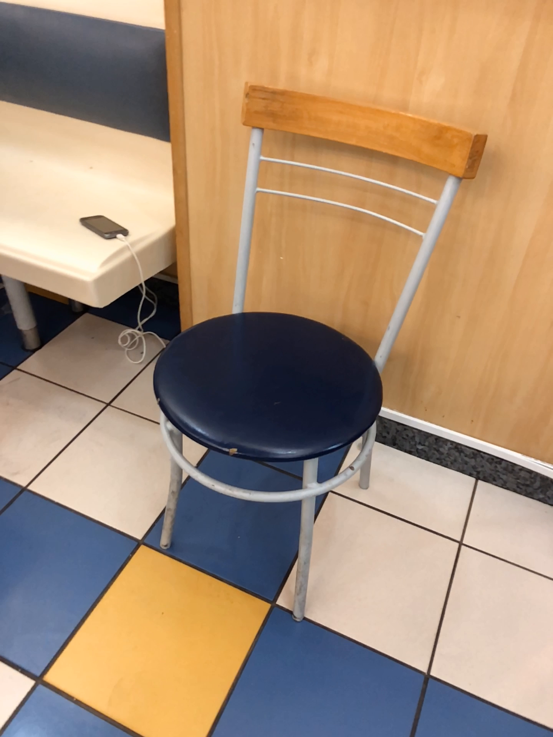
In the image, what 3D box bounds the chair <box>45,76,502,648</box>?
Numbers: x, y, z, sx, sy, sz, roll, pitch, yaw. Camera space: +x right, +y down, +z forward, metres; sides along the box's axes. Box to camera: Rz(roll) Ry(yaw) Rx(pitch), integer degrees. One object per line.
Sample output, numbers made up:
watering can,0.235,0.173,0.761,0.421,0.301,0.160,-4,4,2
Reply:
chair,0.020,-0.019,1.066,0.440,0.744,0.524,19,42,18
